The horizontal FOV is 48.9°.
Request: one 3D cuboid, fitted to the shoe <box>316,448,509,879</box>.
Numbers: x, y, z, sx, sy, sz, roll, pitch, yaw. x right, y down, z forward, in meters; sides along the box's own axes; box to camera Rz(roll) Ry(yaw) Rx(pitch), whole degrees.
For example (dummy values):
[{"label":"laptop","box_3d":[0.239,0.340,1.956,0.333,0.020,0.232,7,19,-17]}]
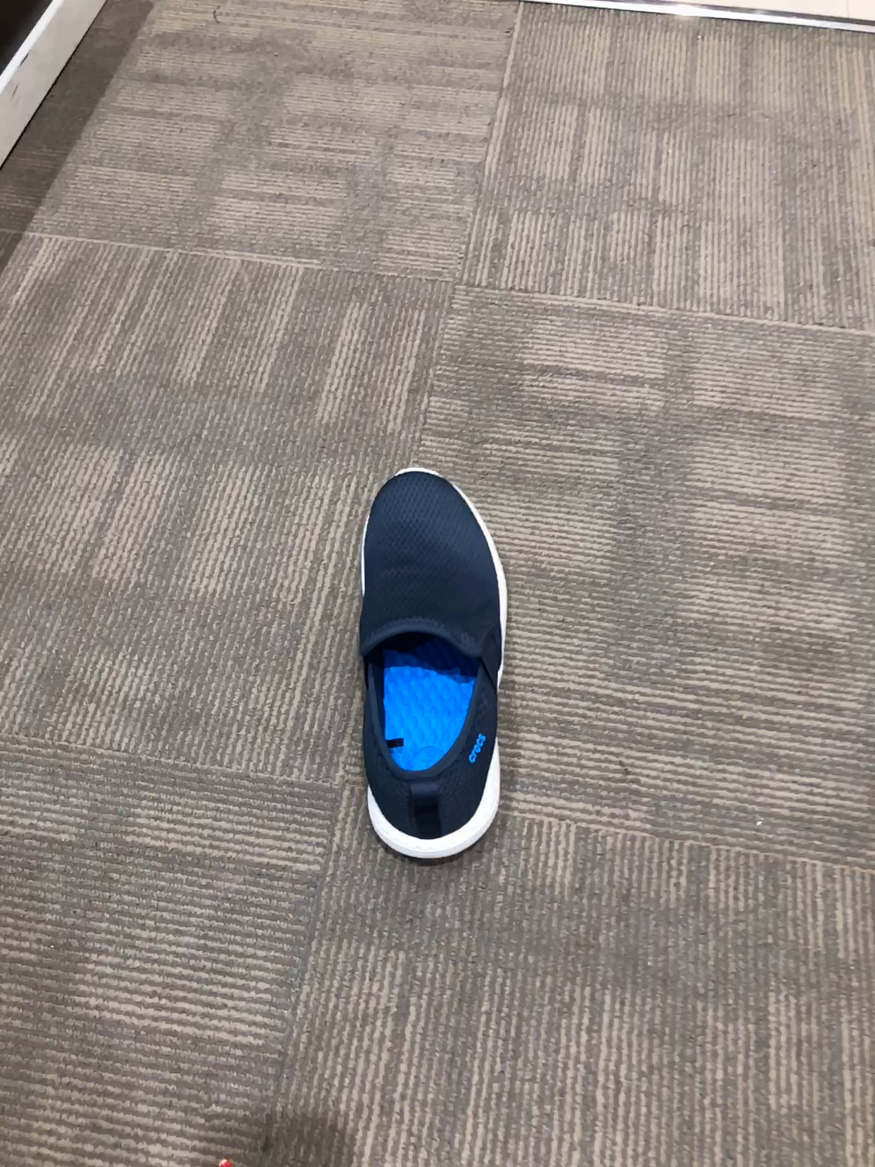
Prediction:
[{"label":"shoe","box_3d":[-0.009,0.052,0.670,0.110,0.120,0.271,2,60,1]}]
